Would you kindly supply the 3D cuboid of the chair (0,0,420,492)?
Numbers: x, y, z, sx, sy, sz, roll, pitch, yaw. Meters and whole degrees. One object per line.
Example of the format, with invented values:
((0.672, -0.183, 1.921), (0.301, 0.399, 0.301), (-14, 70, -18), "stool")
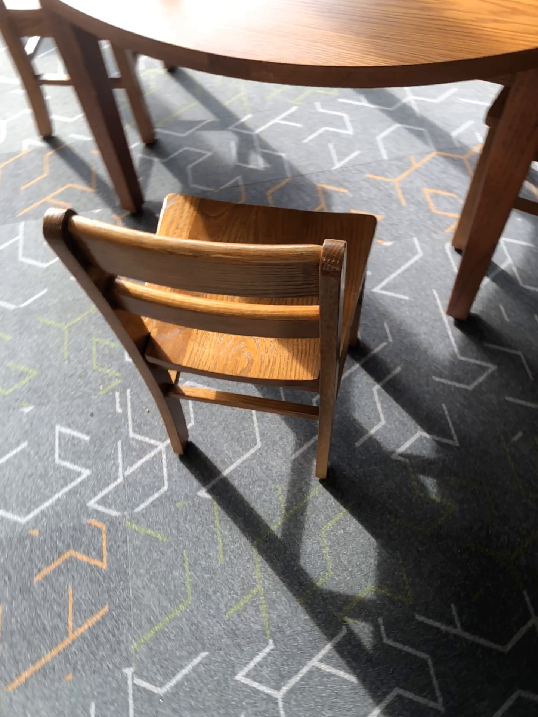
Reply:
((-0.022, -0.107, 0.892), (0.370, 0.667, 0.391), (7, 63, 8), "chair")
